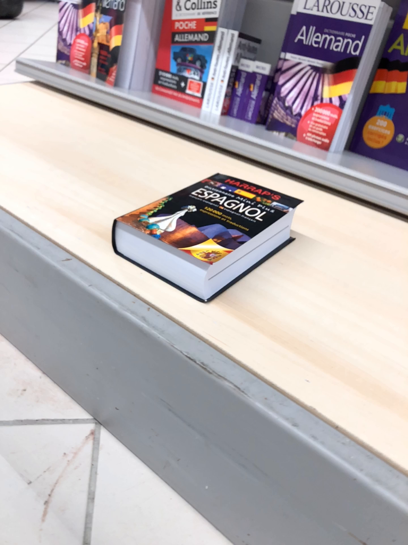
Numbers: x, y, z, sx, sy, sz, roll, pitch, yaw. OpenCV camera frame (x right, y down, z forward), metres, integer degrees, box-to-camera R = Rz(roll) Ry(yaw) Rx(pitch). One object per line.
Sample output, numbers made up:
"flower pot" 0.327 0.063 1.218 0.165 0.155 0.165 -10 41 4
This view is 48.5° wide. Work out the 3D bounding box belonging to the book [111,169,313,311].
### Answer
"book" 0.011 -0.038 0.391 0.103 0.038 0.146 27 40 29
